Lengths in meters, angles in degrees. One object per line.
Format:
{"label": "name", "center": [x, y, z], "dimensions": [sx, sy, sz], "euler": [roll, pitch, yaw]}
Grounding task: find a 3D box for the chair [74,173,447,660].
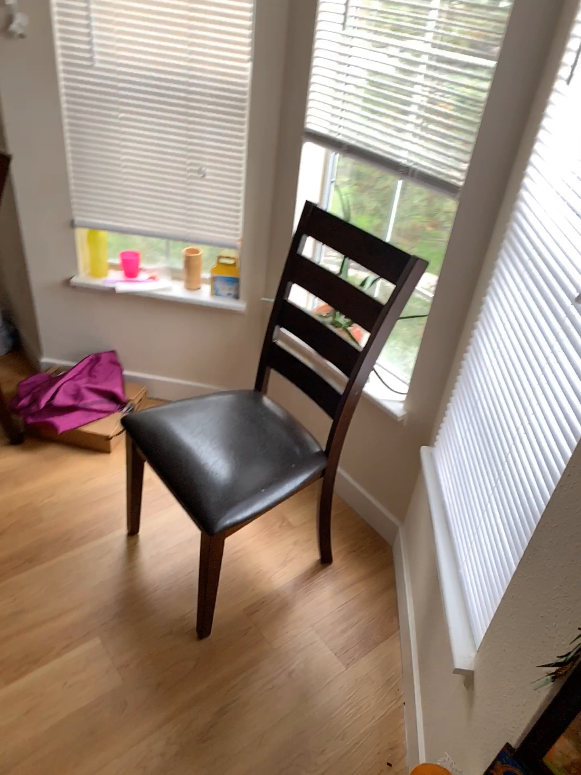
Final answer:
{"label": "chair", "center": [-0.119, 0.051, 1.484], "dimensions": [0.541, 0.945, 0.562], "euler": [-20, 43, -34]}
